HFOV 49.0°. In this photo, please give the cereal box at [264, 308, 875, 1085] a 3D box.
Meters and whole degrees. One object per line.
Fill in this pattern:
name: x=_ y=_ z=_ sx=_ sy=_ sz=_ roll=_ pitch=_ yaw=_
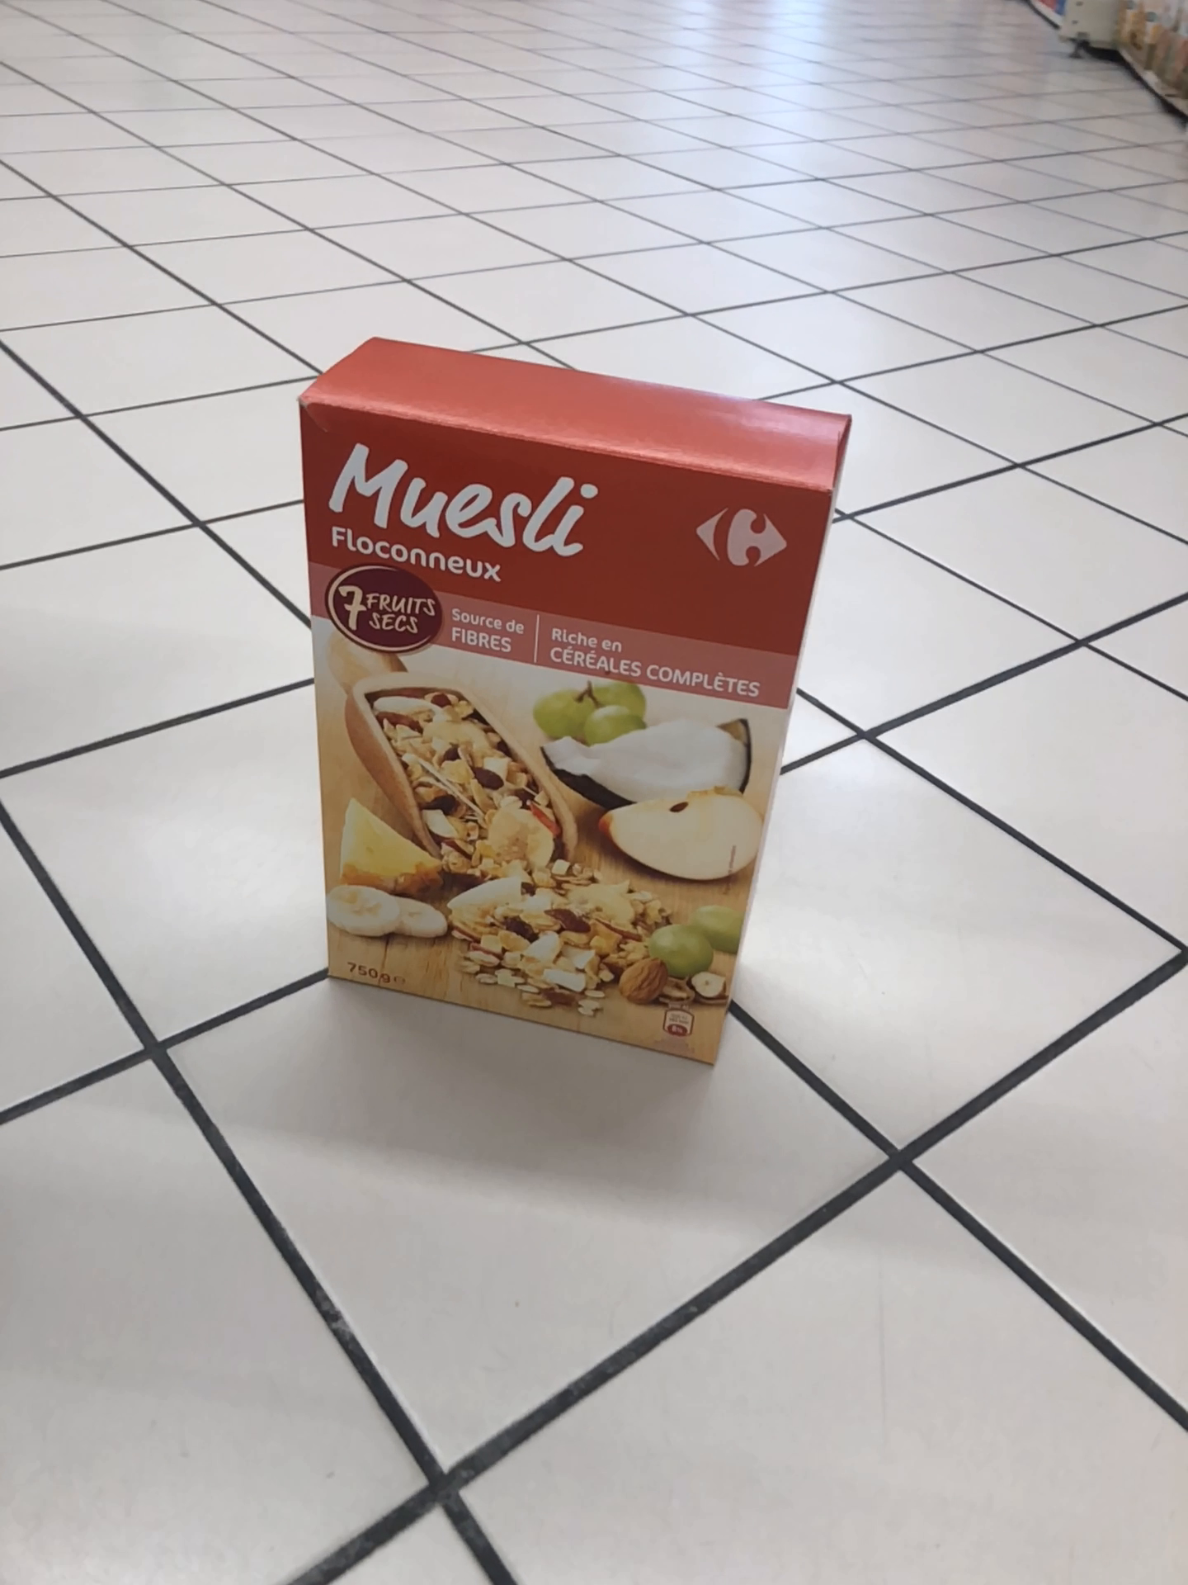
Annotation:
cereal box: x=-0.013 y=-0.026 z=0.463 sx=0.170 sy=0.238 sz=0.081 roll=12 pitch=37 yaw=8
